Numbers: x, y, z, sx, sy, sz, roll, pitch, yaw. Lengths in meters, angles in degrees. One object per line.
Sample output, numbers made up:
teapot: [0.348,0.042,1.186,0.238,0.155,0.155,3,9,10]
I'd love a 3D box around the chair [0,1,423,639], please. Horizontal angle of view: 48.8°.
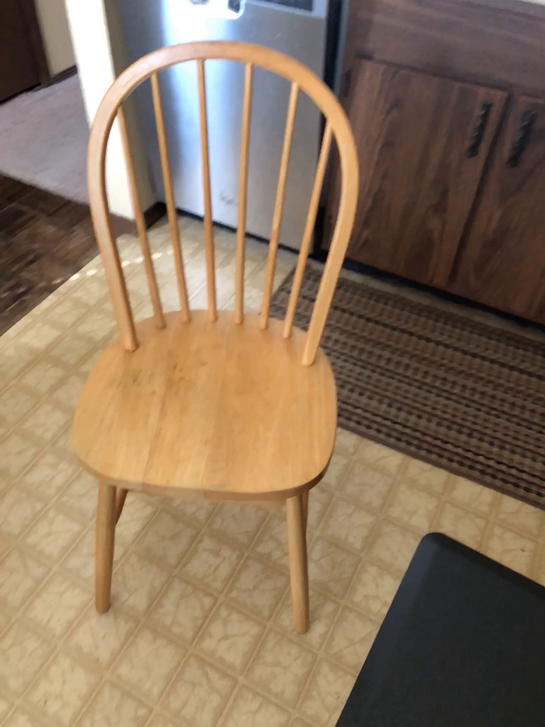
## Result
chair: [-0.101,-0.007,1.015,0.460,0.898,0.561,4,46,2]
